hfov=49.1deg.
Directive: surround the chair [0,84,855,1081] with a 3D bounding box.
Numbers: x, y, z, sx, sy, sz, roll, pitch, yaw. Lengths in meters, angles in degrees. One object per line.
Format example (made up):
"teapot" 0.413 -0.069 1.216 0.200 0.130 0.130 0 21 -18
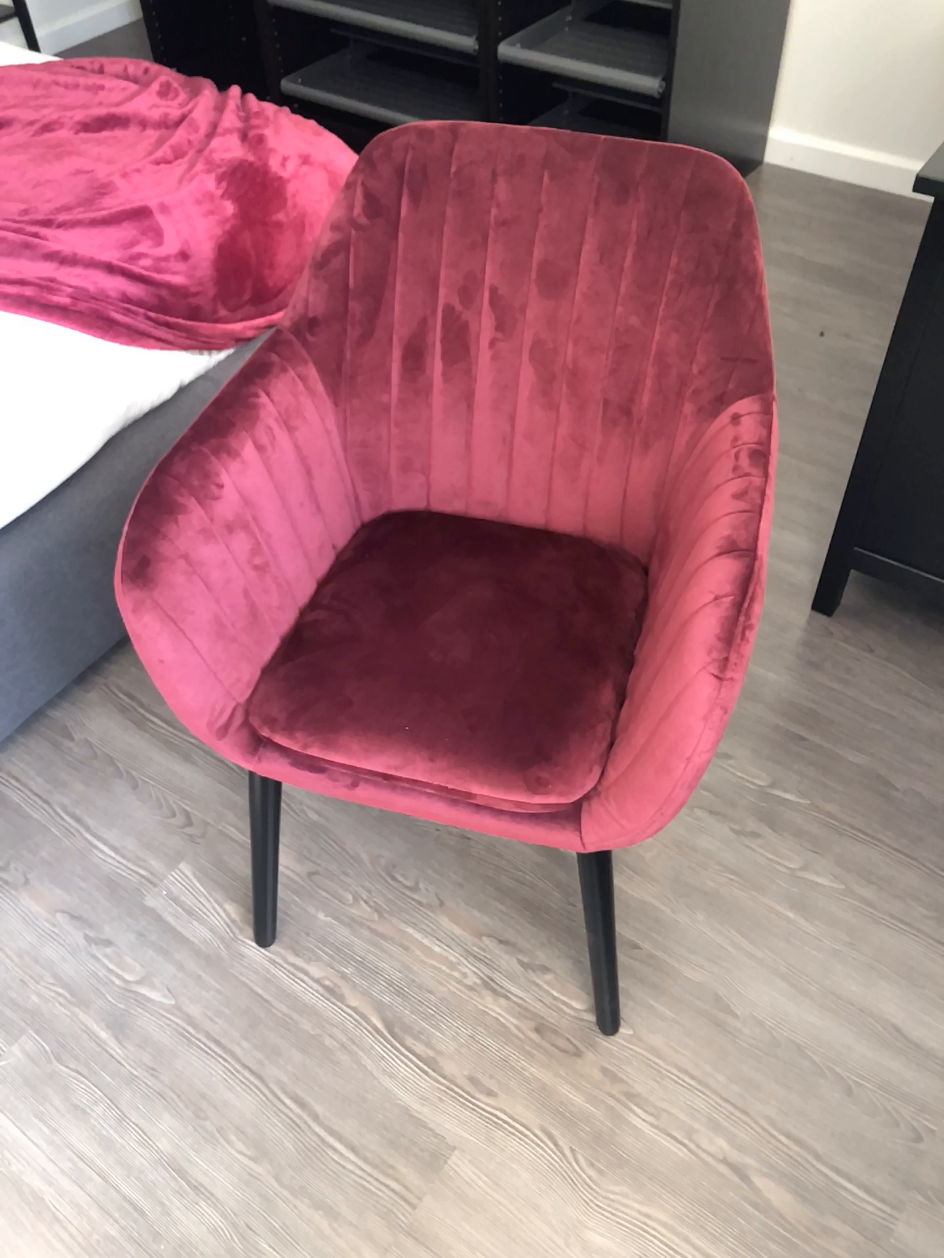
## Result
"chair" 0.009 -0.018 1.119 0.540 0.835 0.553 13 49 13
